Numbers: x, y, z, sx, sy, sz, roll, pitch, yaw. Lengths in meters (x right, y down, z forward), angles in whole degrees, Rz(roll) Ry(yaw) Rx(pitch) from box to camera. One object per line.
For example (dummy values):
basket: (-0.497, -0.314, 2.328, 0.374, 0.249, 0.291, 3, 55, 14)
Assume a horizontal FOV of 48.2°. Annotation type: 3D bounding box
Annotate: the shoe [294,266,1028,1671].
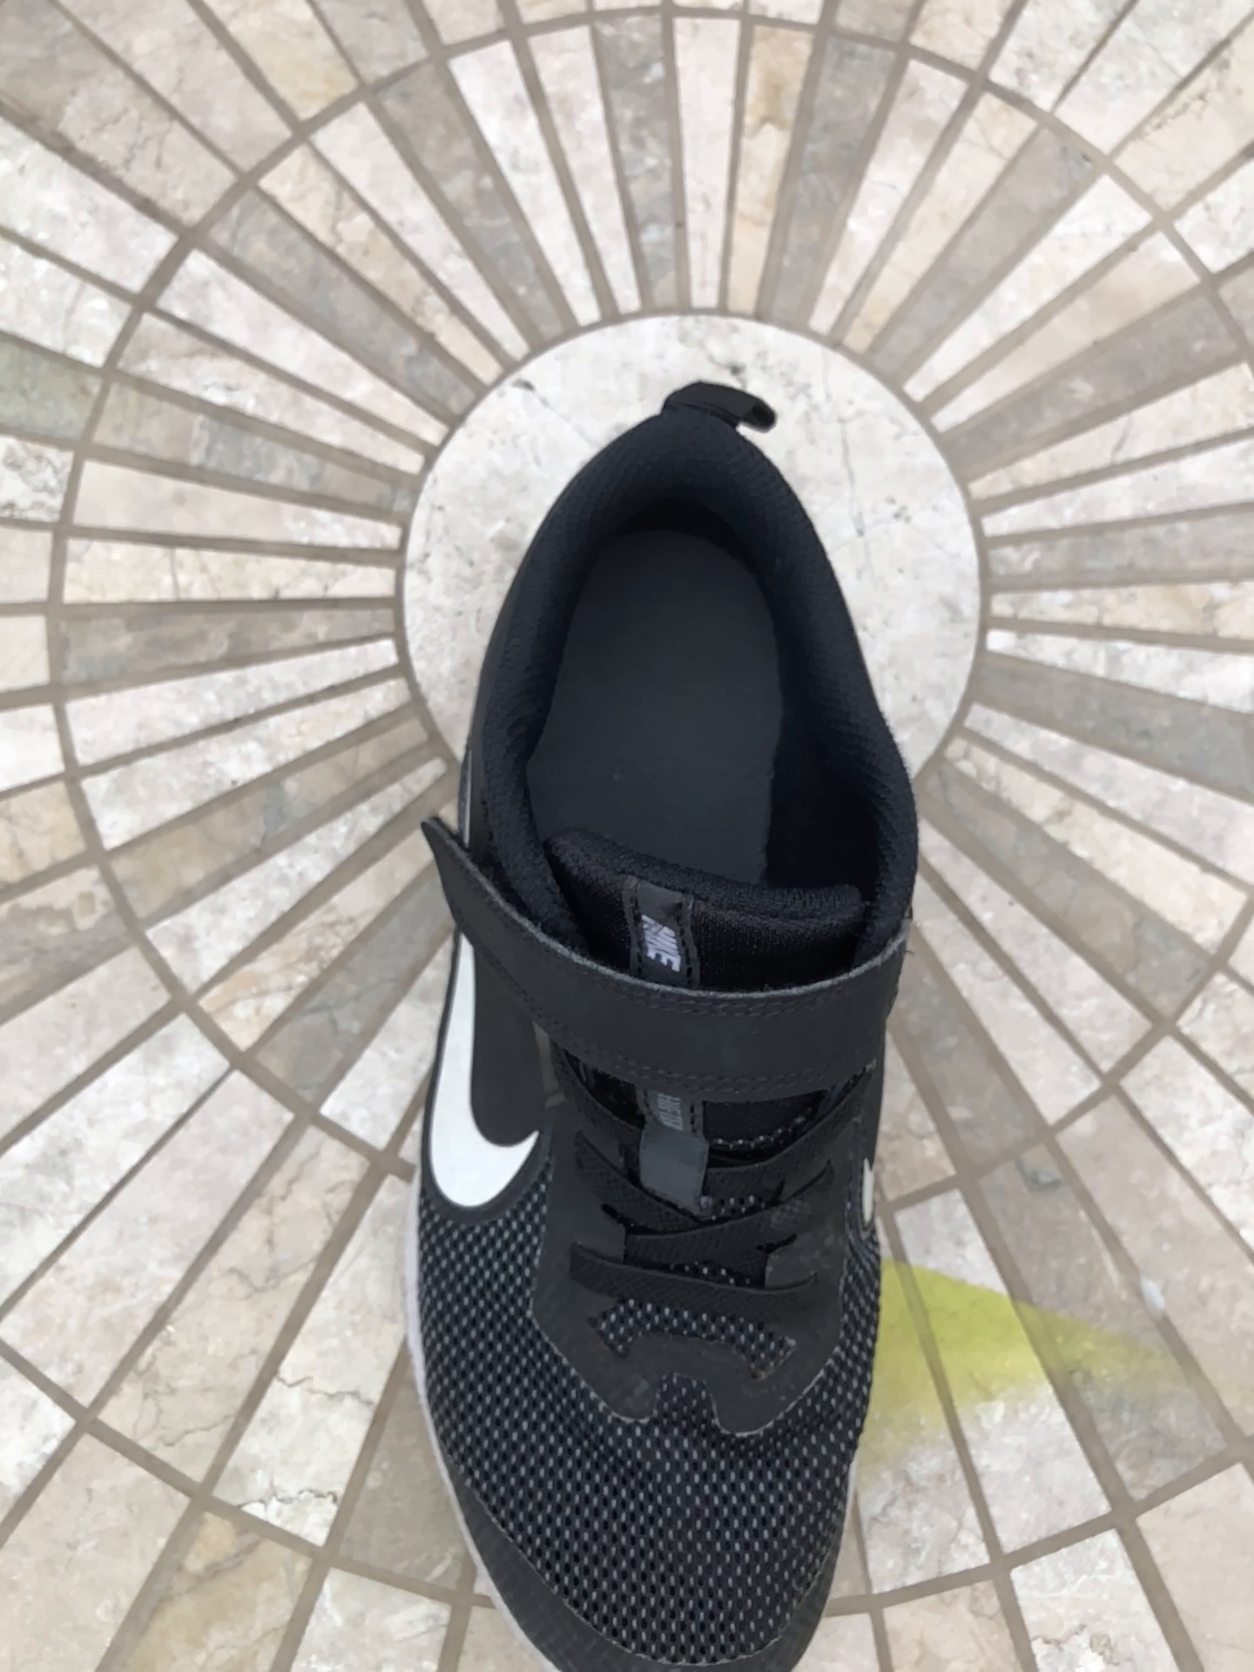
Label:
shoe: (0.007, 0.043, 0.253, 0.100, 0.100, 0.250, 1, 84, -1)
